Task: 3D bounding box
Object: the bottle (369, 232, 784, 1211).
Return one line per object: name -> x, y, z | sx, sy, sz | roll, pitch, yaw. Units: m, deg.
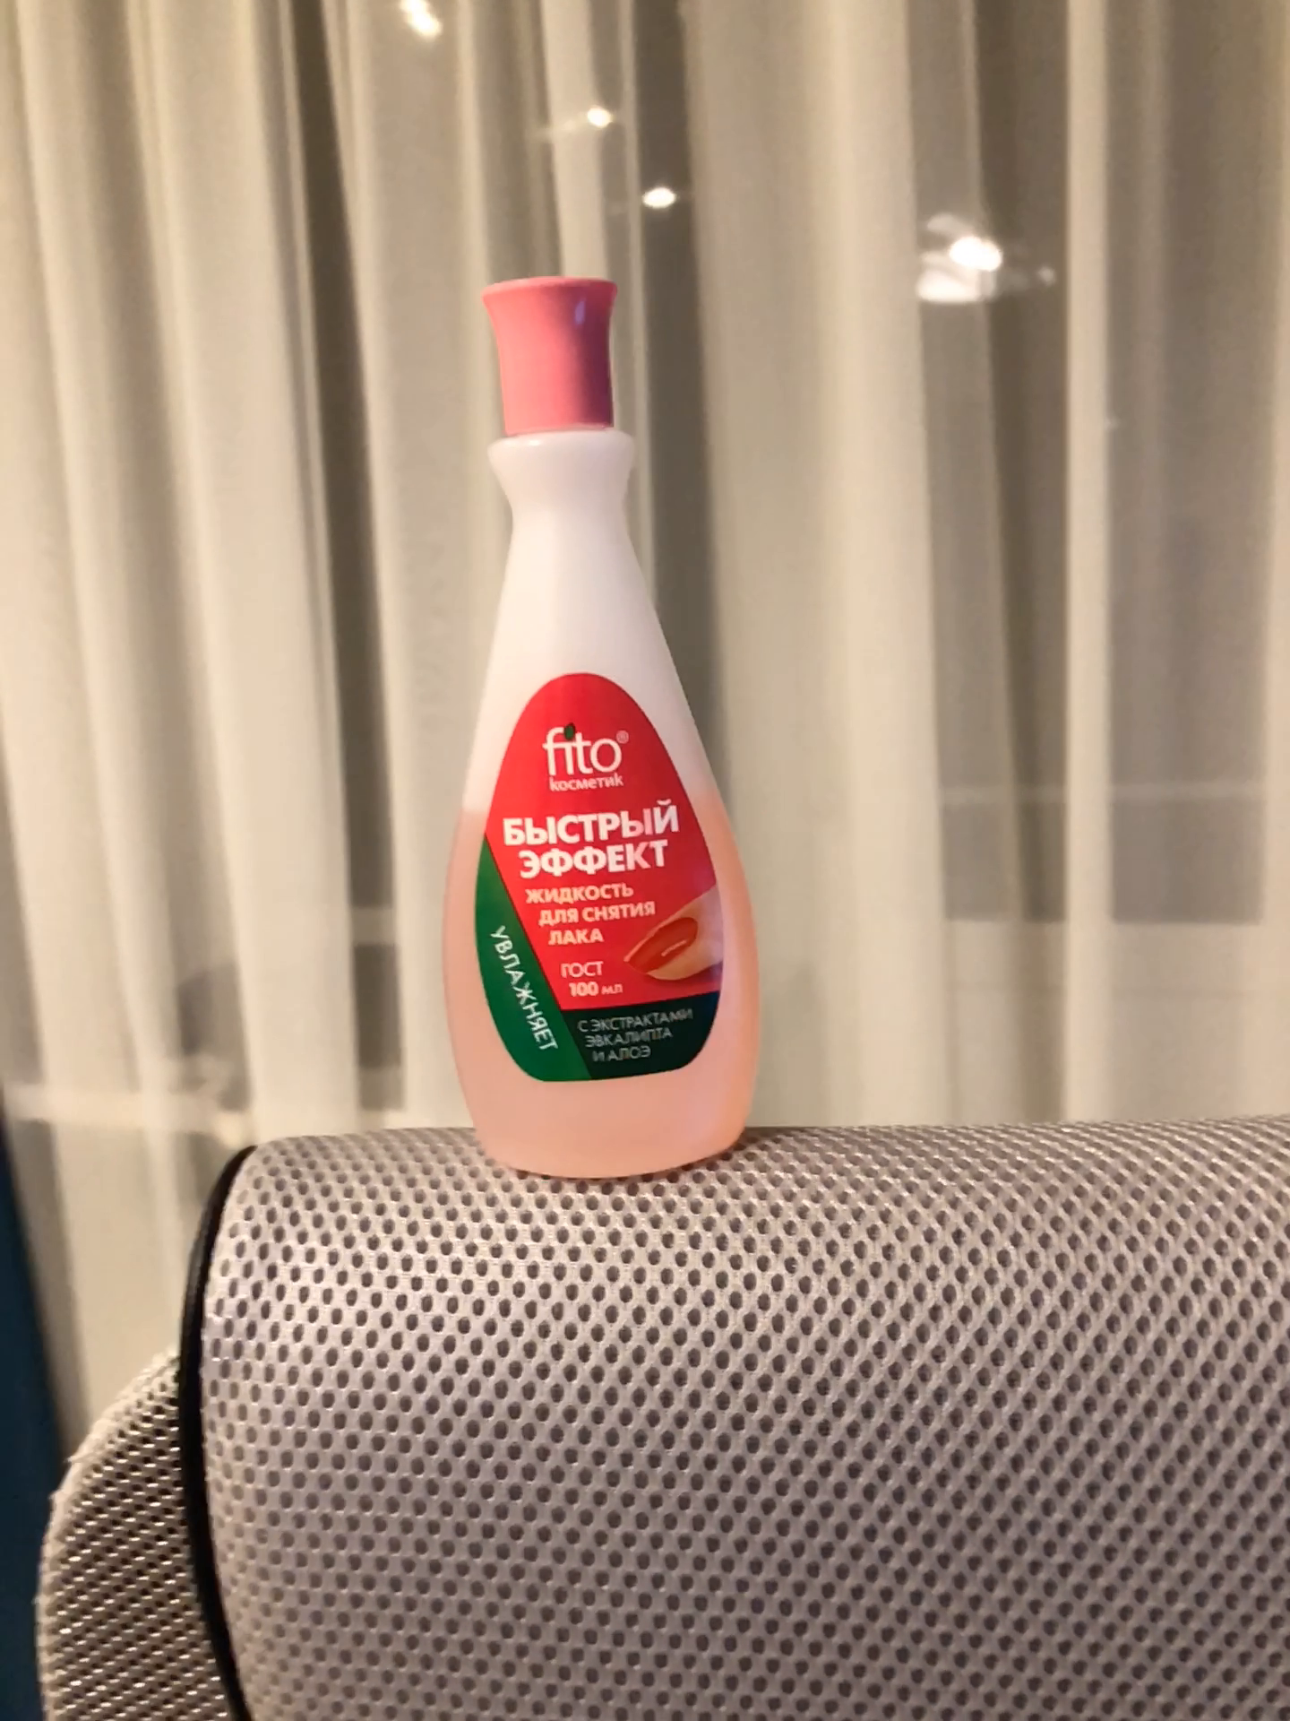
bottle -> -0.010, -0.022, 0.256 | 0.056, 0.158, 0.039 | -5, 10, -2
